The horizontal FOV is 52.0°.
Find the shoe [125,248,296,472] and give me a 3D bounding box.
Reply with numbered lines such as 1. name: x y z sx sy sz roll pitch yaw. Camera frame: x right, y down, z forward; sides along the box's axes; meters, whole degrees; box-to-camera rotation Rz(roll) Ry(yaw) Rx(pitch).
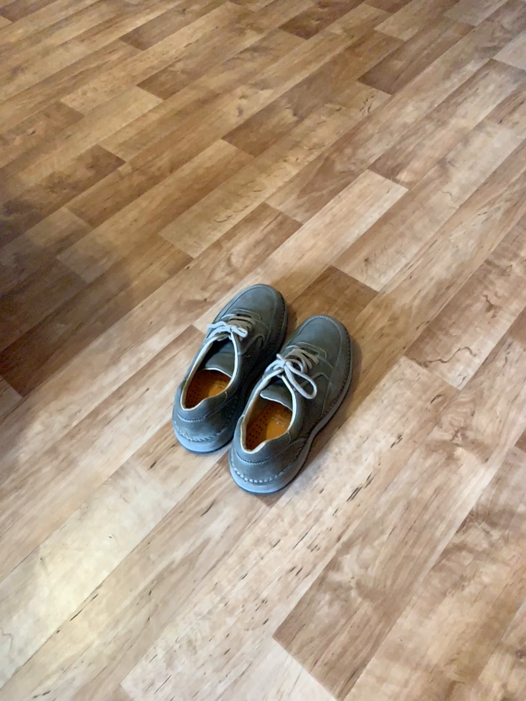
1. shoe: -0.060 0.006 0.781 0.120 0.110 0.291 18 60 14

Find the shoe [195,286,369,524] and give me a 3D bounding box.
1. shoe: 0.036 0.068 0.759 0.120 0.120 0.291 20 60 16
